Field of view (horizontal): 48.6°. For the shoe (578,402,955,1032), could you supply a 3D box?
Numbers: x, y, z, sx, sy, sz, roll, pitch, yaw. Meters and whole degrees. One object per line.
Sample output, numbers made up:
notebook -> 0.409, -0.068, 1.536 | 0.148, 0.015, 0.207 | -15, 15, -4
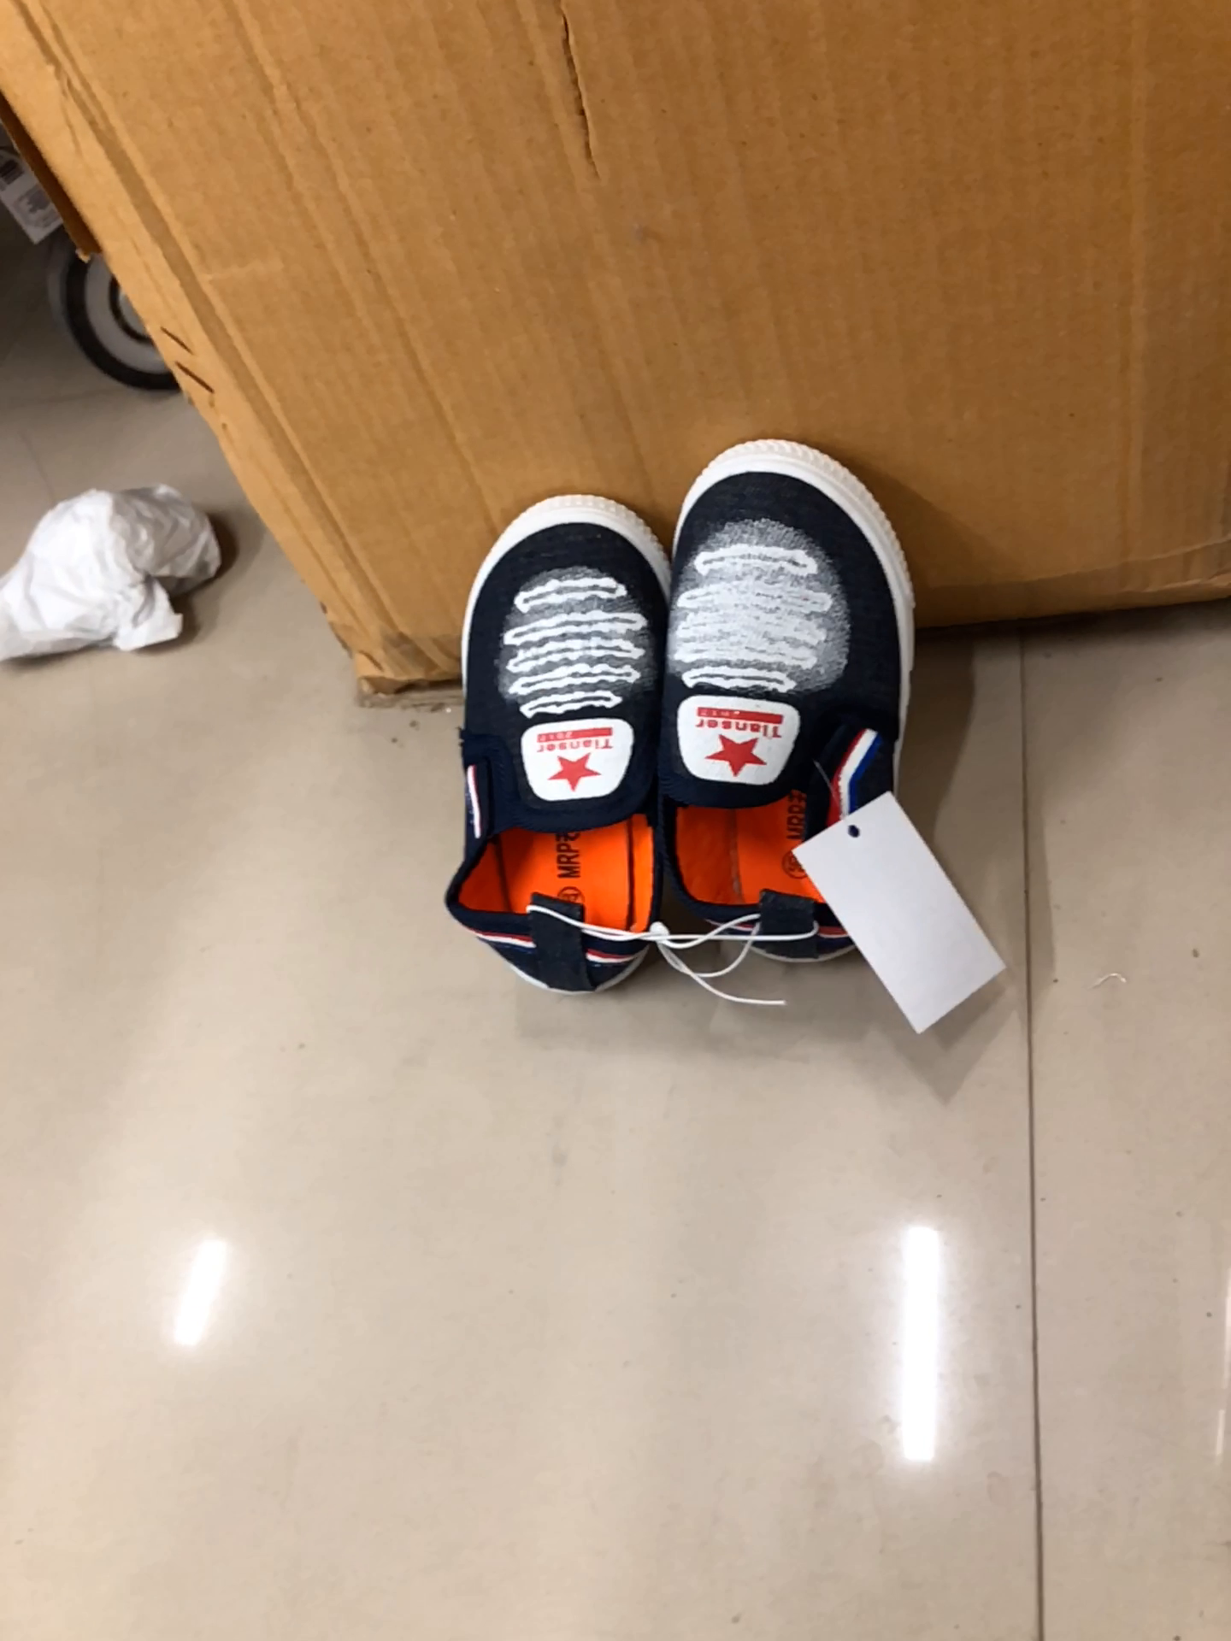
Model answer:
shoe -> 0.050, -0.033, 0.396 | 0.080, 0.160, 0.081 | 3, 19, 24
